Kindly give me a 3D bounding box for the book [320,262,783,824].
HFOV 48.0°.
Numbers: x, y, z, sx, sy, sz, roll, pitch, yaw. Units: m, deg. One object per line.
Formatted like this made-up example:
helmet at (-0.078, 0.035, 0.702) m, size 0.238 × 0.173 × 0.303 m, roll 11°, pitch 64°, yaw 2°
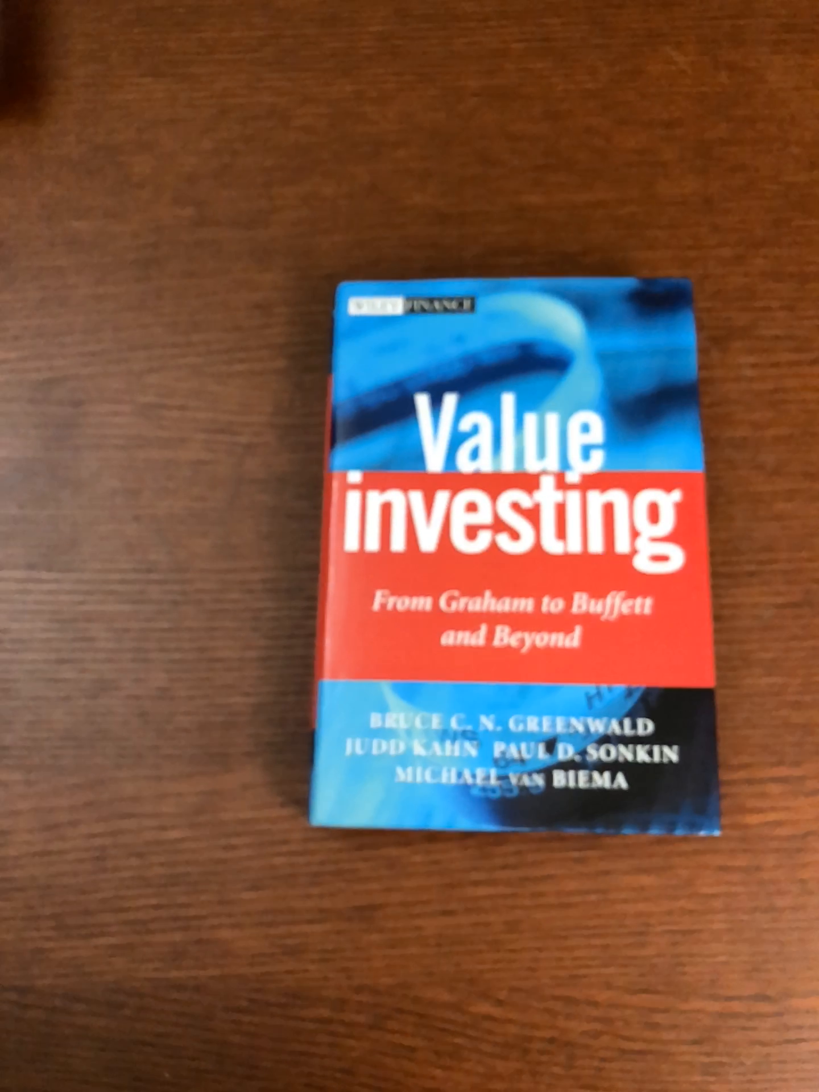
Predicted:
book at (0.056, -0.009, 0.380) m, size 0.170 × 0.020 × 0.230 m, roll 1°, pitch 75°, yaw 4°
